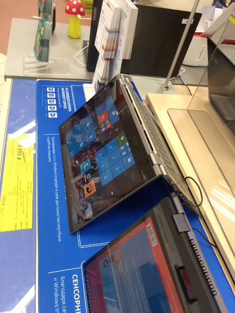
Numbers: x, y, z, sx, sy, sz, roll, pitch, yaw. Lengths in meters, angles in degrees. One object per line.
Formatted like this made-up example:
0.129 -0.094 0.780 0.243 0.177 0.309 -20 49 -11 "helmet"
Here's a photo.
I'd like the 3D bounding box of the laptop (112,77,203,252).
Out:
0.089 0.027 0.690 0.211 0.150 0.337 25 33 -34 "laptop"
